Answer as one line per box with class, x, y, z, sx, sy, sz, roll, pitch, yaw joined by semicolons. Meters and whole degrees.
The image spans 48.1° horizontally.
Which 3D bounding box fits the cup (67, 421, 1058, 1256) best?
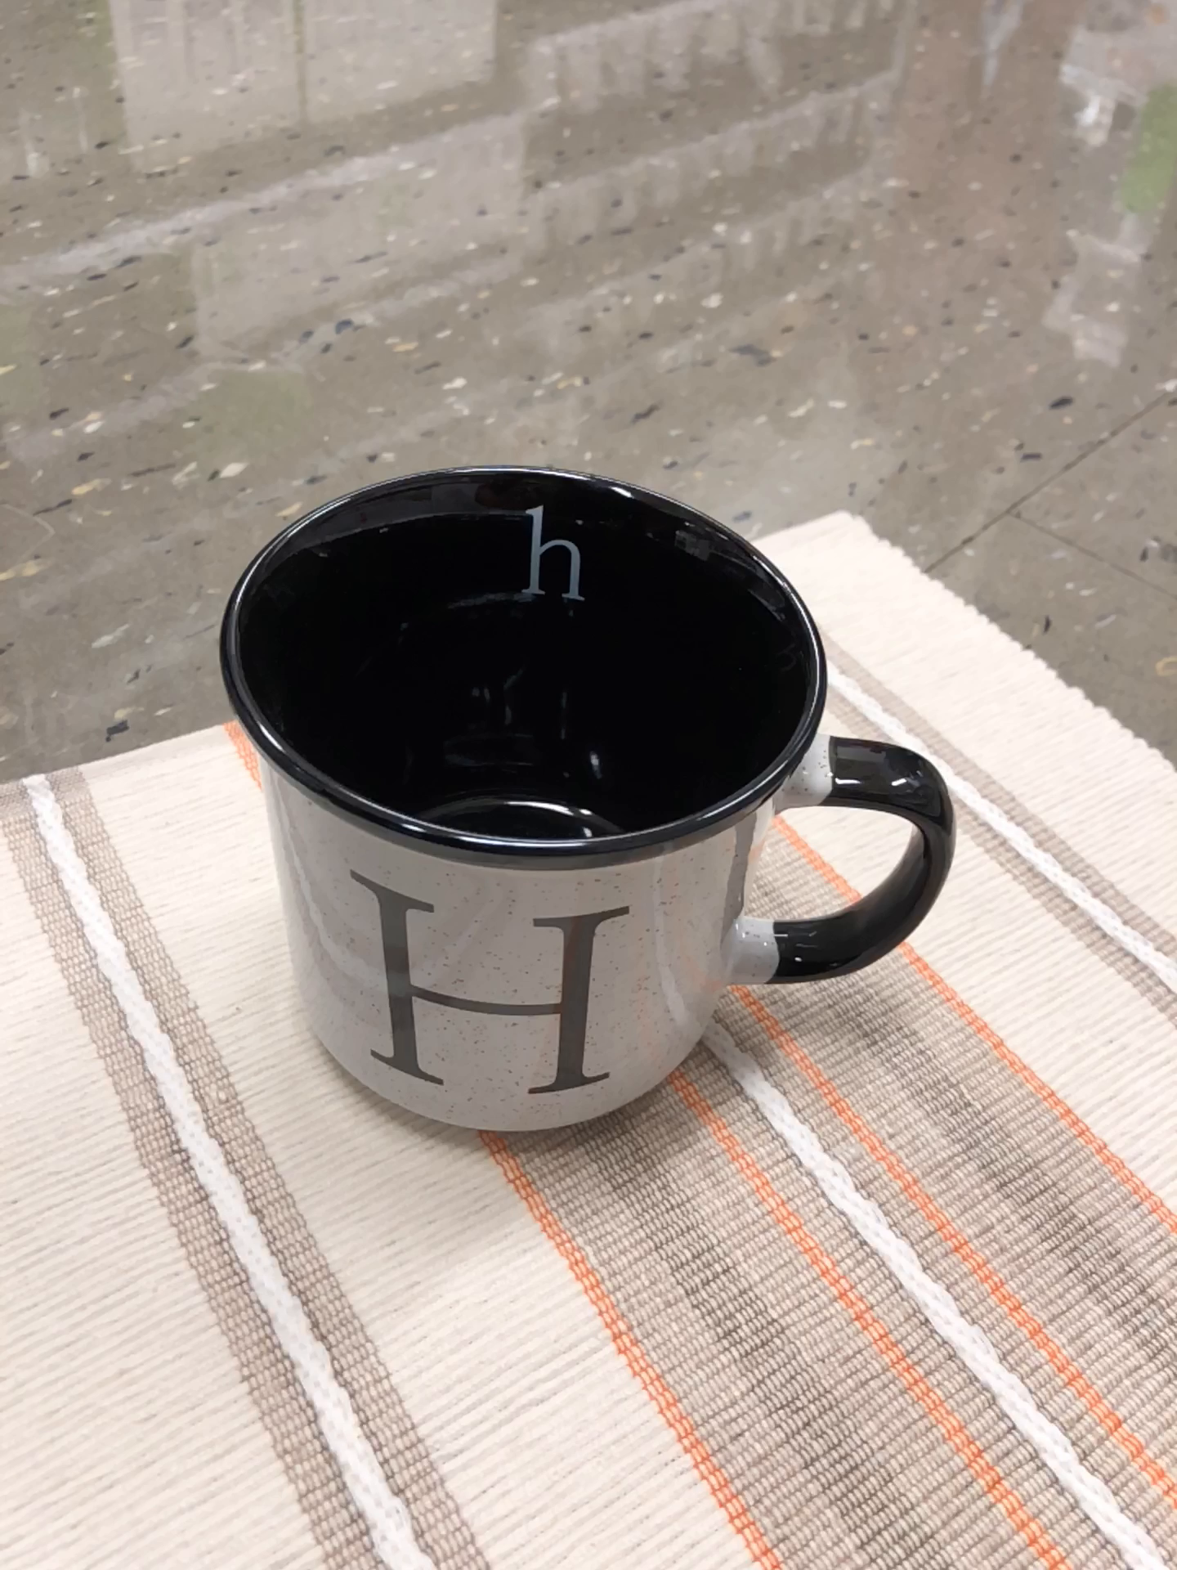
cup;-0.002;0.009;0.254;0.140;0.100;0.100;9;45;3
